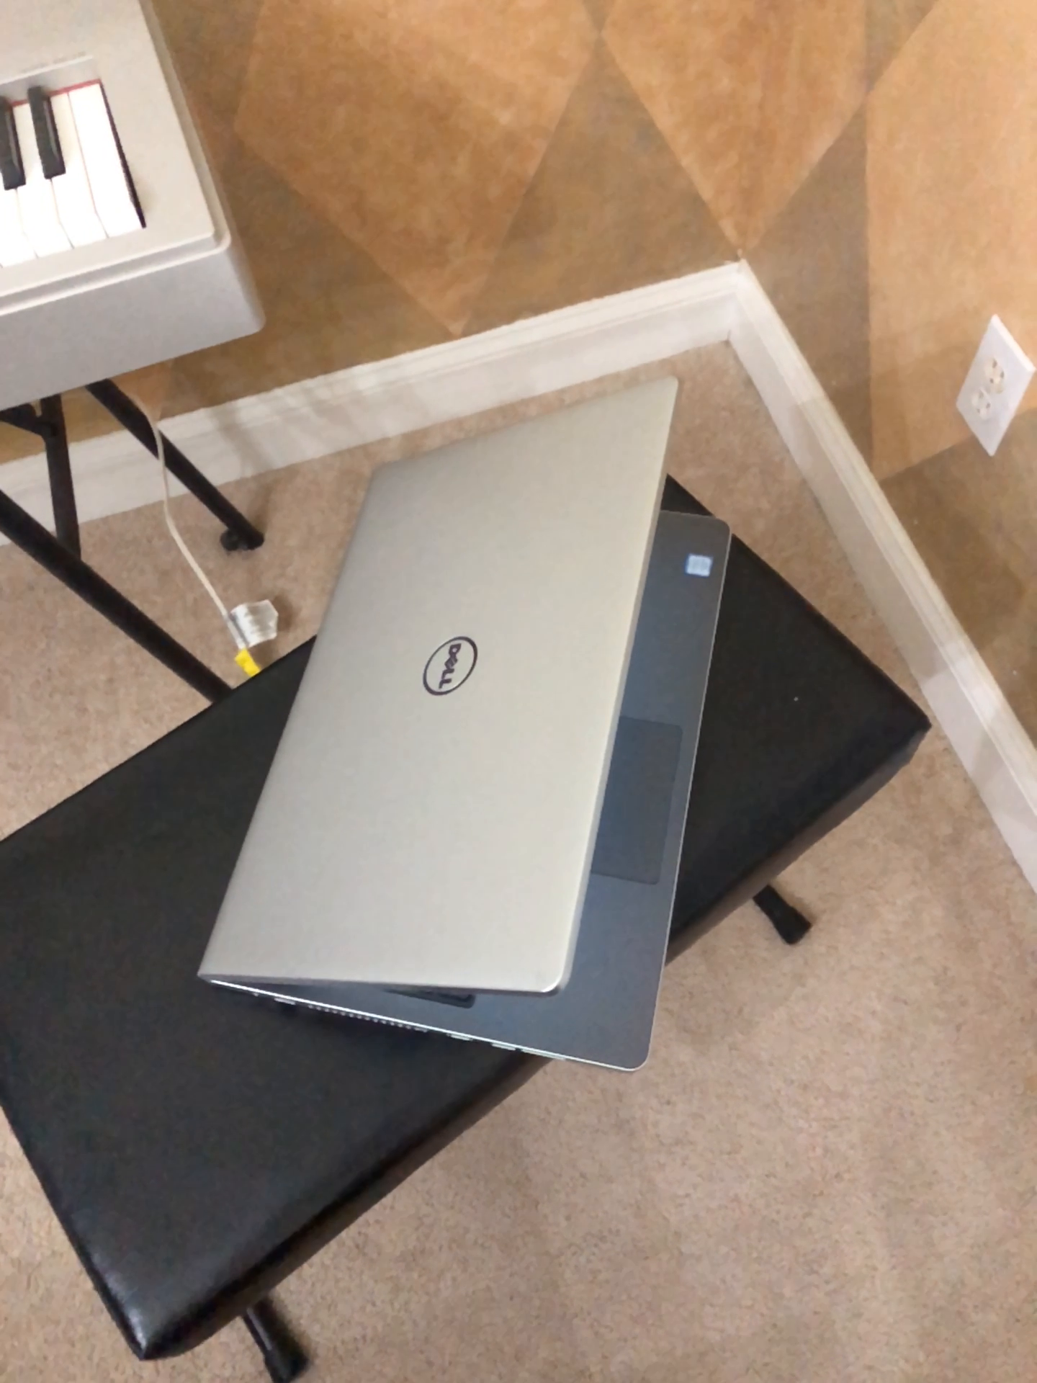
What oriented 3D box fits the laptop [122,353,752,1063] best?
[{"bbox_3d":[-0.022,-0.003,0.686,0.261,0.137,0.376,9,63,8],"label":"laptop"}]
